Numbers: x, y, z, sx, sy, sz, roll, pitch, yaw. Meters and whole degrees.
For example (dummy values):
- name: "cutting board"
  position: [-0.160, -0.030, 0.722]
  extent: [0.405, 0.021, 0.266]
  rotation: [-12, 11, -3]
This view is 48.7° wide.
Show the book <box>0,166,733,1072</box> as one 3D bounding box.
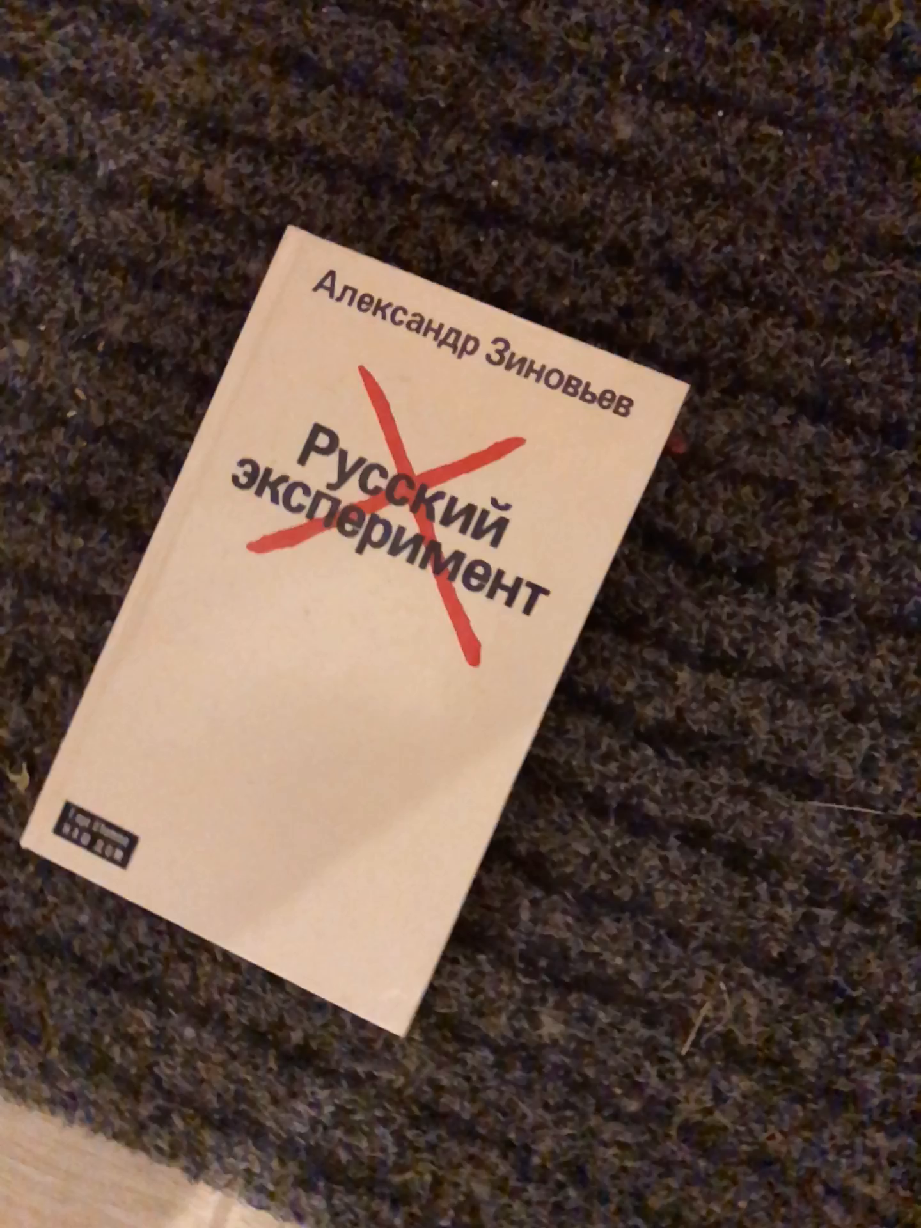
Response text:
- name: "book"
  position: [-0.026, -0.001, 0.270]
  extent: [0.120, 0.040, 0.190]
  rotation: [24, 90, 8]
